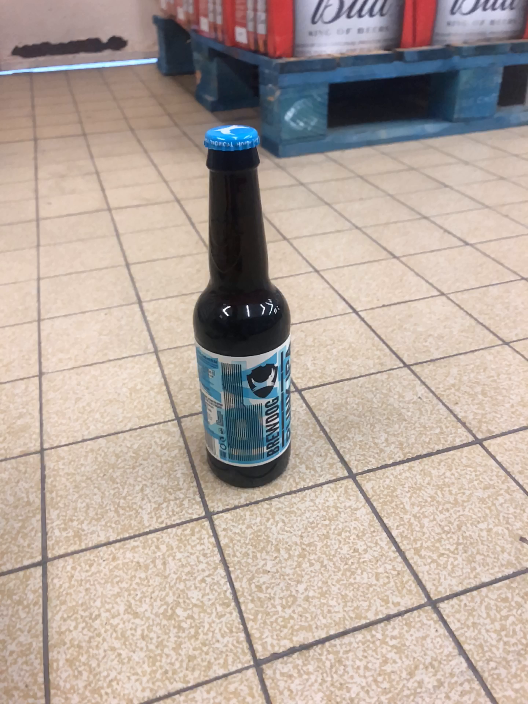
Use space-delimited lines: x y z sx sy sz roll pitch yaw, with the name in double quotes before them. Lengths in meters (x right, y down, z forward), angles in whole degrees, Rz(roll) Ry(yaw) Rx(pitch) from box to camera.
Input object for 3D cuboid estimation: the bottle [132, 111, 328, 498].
"bottle" -0.012 -0.023 0.348 0.070 0.209 0.070 -2 33 1
